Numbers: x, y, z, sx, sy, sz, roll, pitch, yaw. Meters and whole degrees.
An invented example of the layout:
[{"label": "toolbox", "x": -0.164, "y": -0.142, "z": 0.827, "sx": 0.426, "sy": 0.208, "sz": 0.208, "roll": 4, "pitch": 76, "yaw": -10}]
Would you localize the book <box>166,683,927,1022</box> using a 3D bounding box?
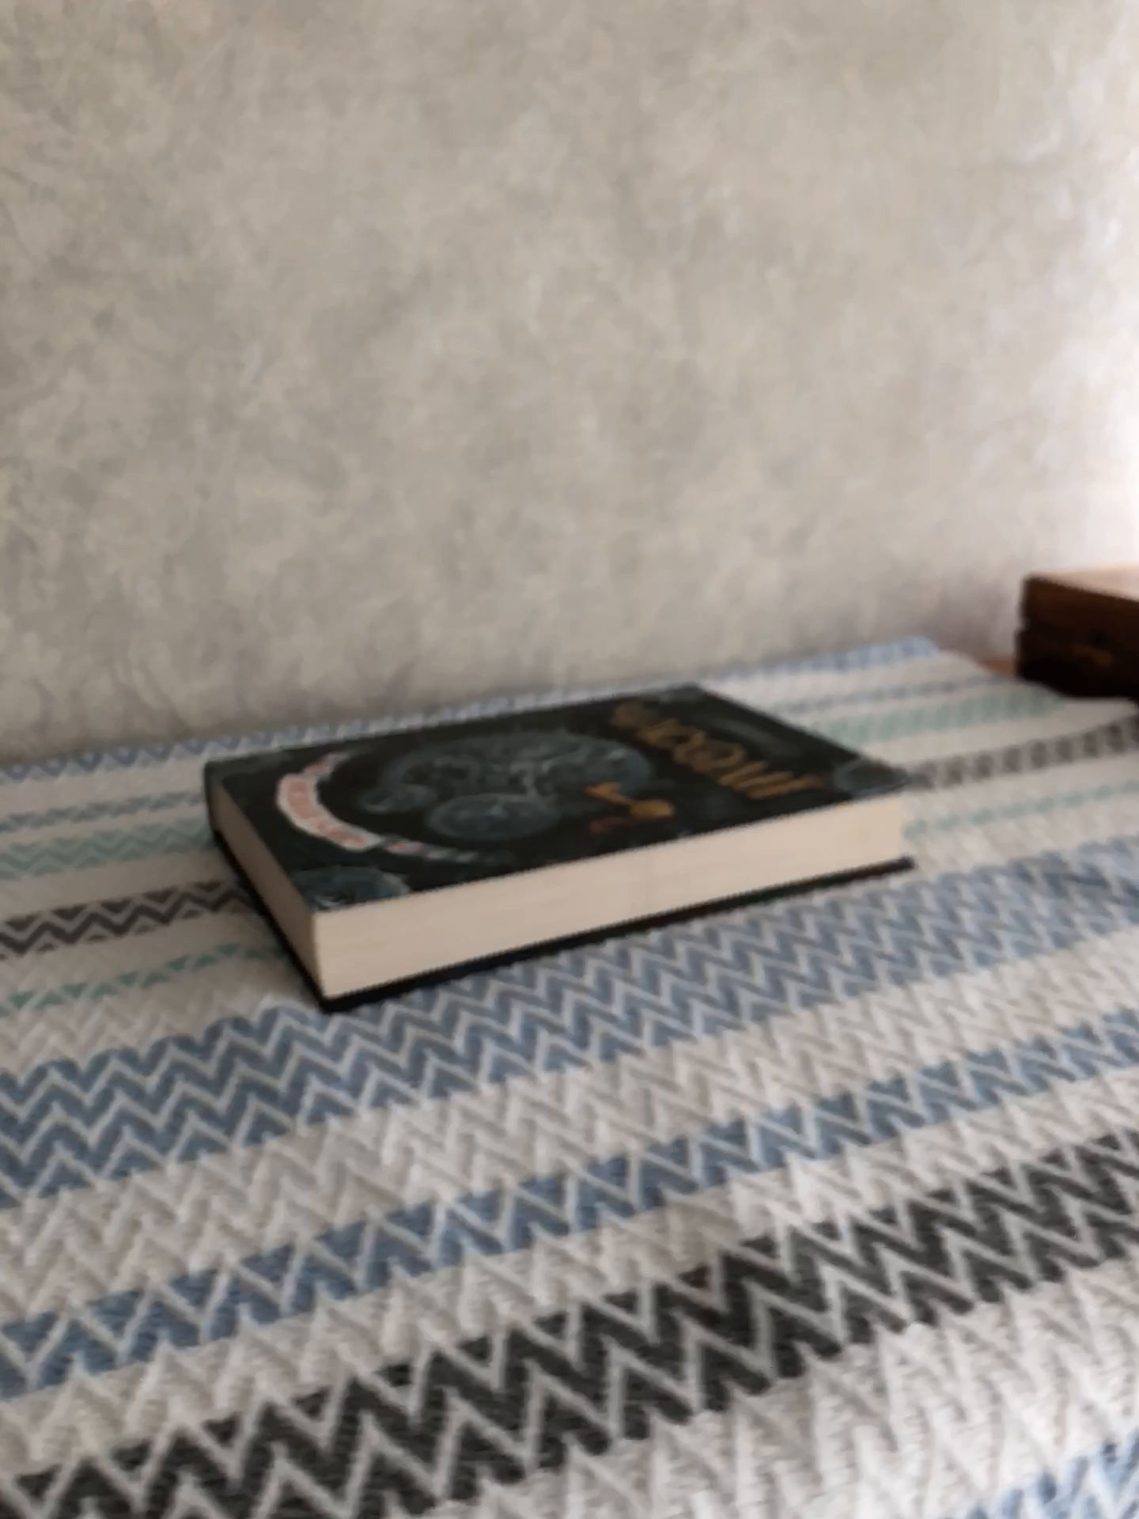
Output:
[{"label": "book", "x": -0.017, "y": 0.020, "z": 0.492, "sx": 0.238, "sy": 0.032, "sz": 0.178, "roll": -9, "pitch": 19, "yaw": -24}]
